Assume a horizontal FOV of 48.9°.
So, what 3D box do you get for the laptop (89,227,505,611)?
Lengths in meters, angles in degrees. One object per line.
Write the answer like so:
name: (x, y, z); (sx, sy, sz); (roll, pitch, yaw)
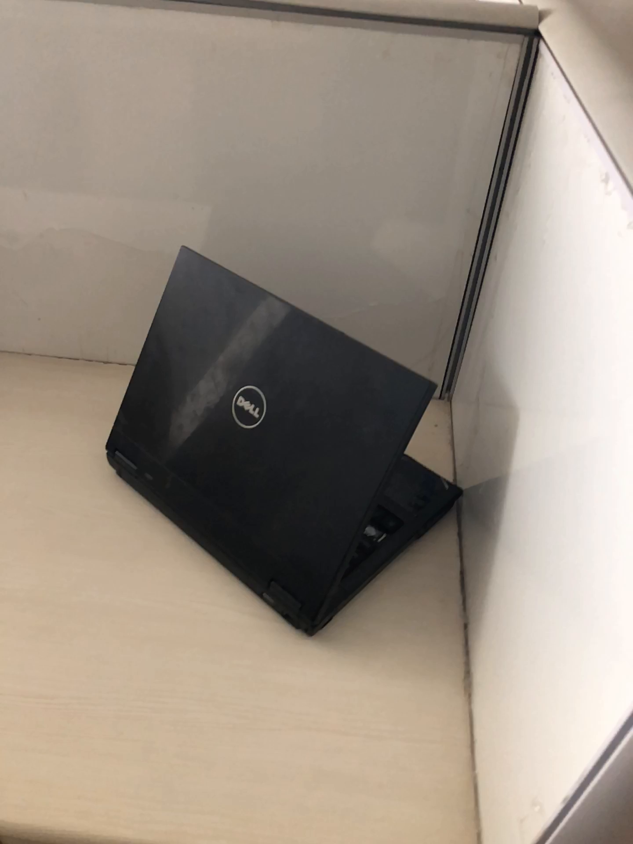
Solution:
laptop: (-0.024, -0.026, 0.691); (0.304, 0.190, 0.230); (33, 45, 29)
